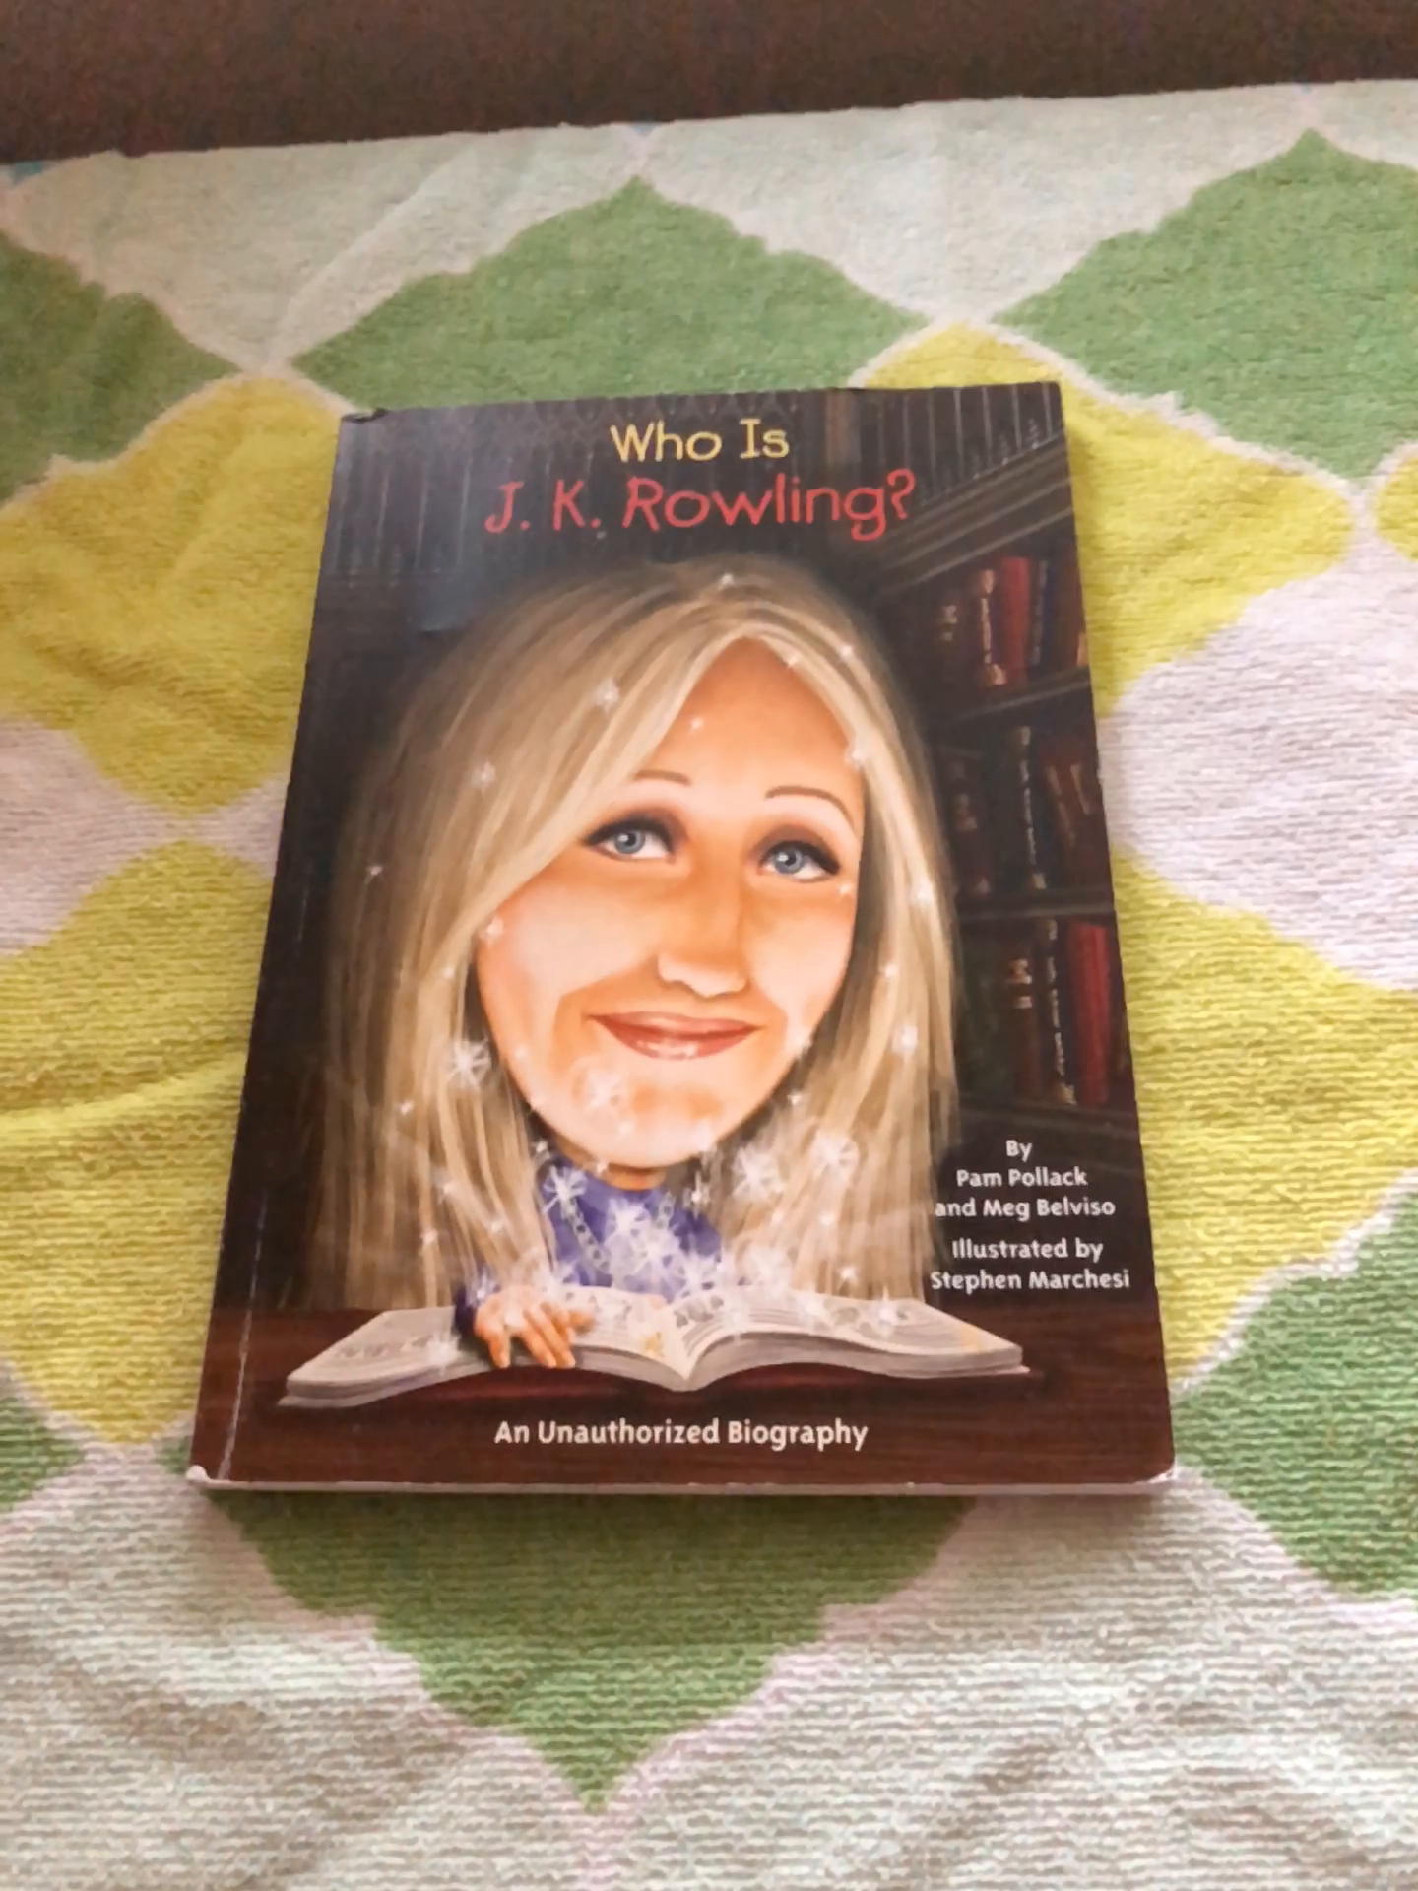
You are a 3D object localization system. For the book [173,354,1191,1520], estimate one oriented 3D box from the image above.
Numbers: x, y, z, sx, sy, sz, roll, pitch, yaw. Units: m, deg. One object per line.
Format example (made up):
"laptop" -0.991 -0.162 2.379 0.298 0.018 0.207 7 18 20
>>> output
"book" -0.003 -0.013 0.240 0.126 0.012 0.187 -1 65 4
